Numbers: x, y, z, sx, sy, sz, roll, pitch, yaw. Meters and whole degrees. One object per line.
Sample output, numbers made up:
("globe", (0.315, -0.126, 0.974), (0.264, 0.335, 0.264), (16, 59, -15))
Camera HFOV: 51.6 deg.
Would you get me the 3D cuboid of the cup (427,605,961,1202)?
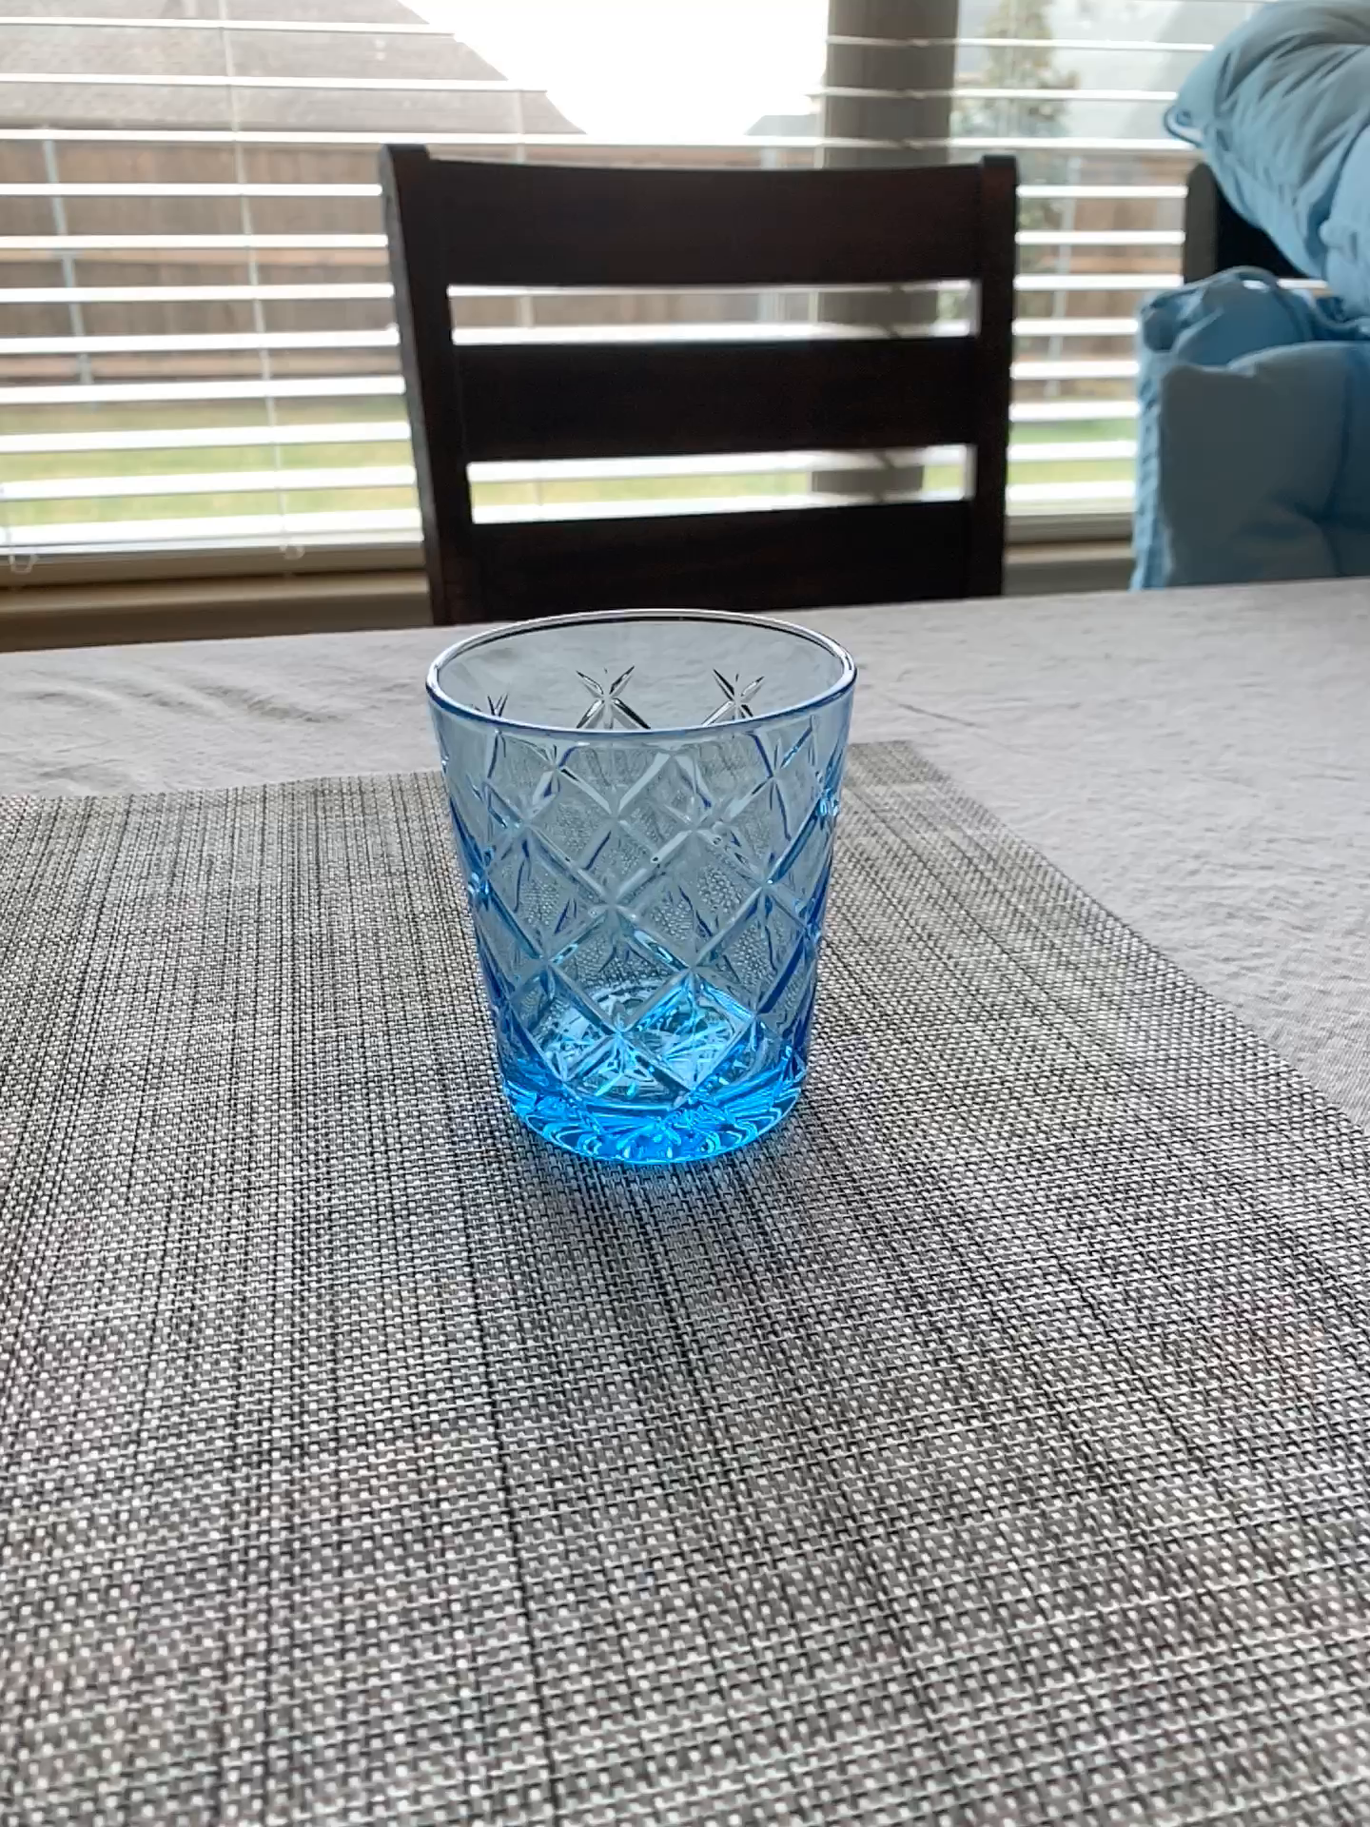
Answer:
("cup", (-0.005, -0.008, 0.294), (0.087, 0.085, 0.093), (0, 26, 0))
